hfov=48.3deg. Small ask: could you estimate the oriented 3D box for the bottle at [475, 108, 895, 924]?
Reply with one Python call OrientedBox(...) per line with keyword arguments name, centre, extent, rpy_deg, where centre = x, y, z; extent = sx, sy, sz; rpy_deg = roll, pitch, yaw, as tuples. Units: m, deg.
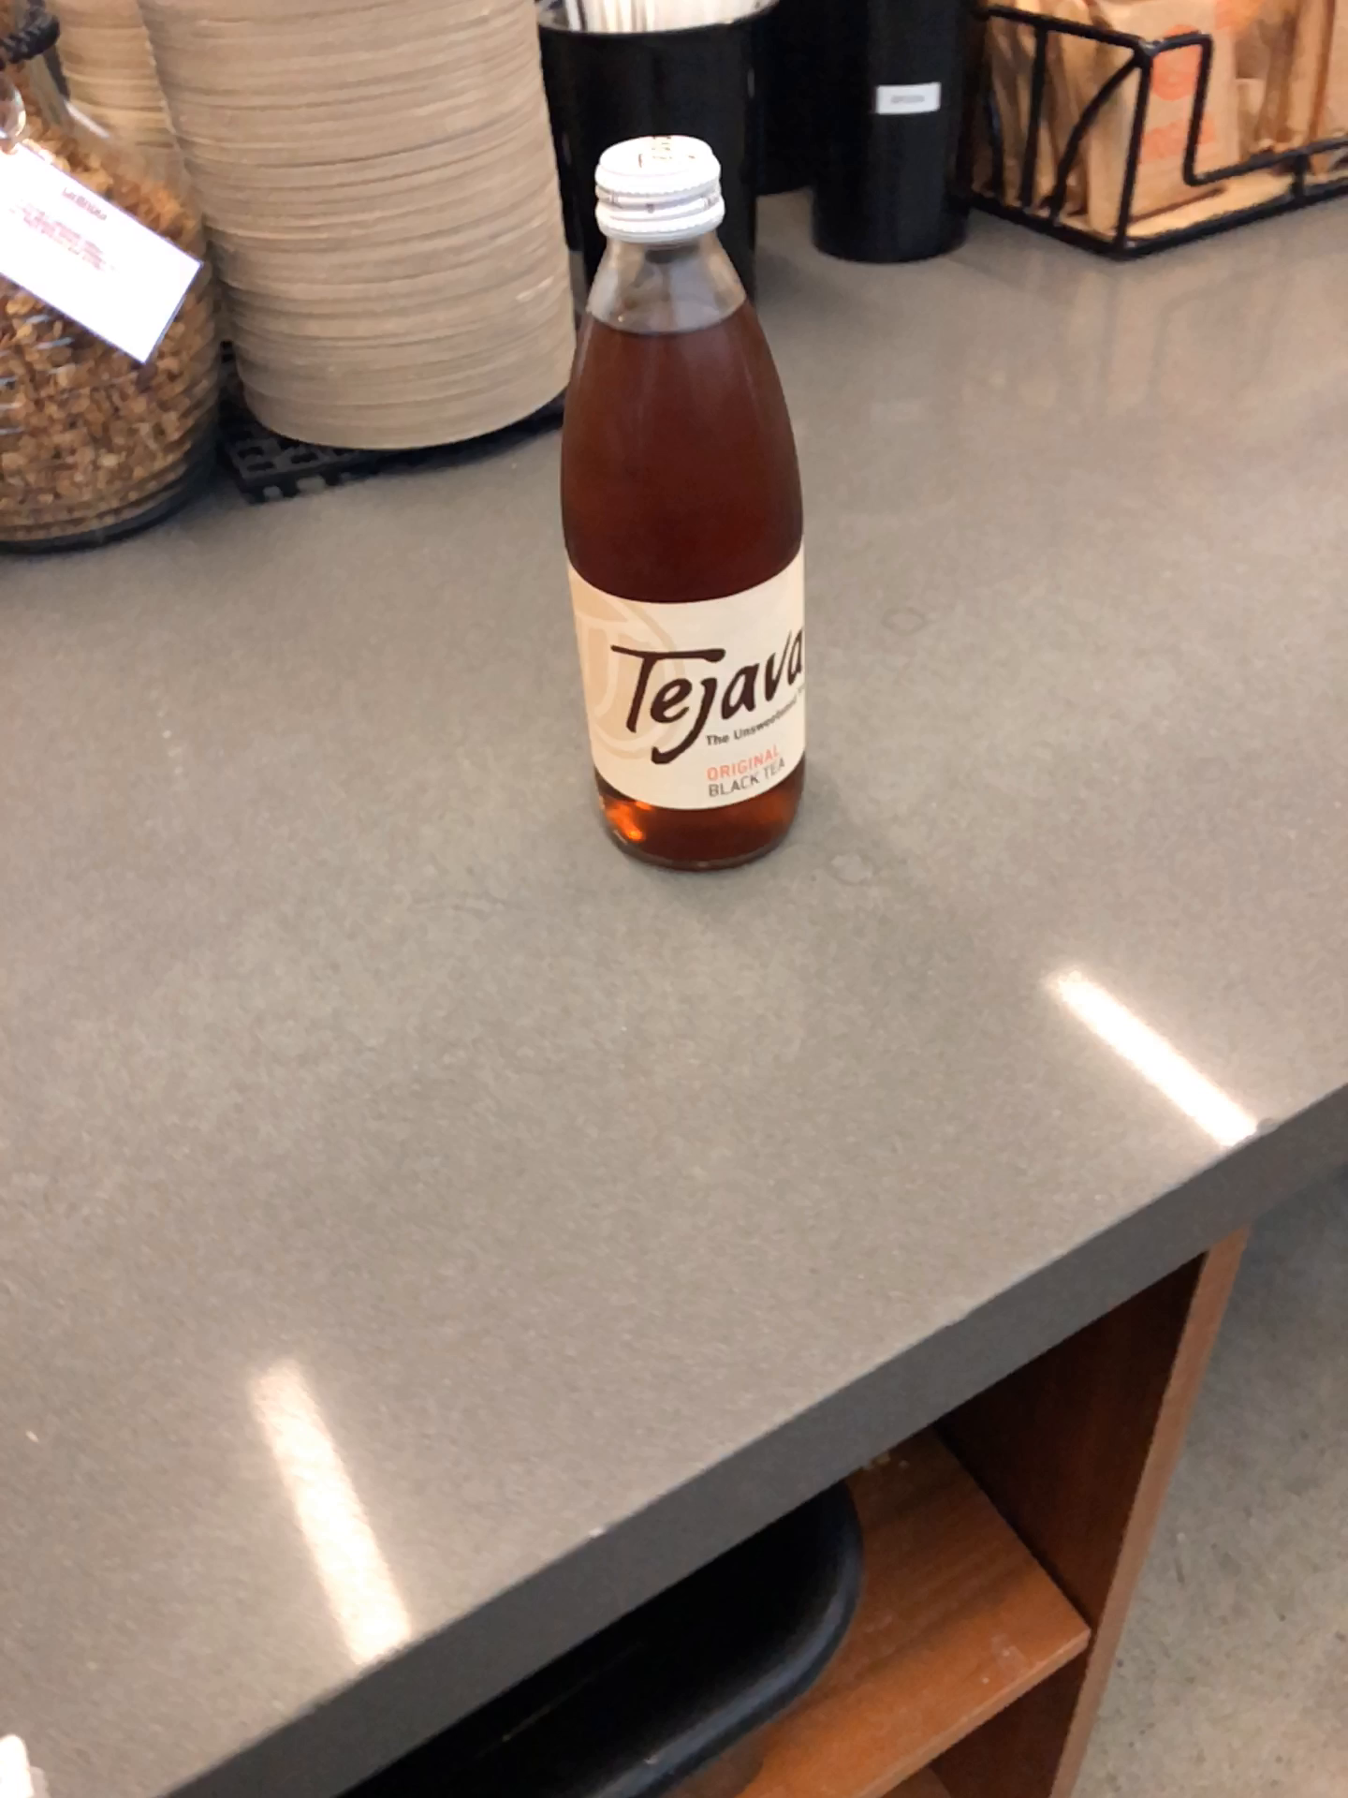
OrientedBox(name="bottle", centre=(0.006, -0.096, 0.406), extent=(0.070, 0.189, 0.070), rpy_deg=(-2, 41, 2))
